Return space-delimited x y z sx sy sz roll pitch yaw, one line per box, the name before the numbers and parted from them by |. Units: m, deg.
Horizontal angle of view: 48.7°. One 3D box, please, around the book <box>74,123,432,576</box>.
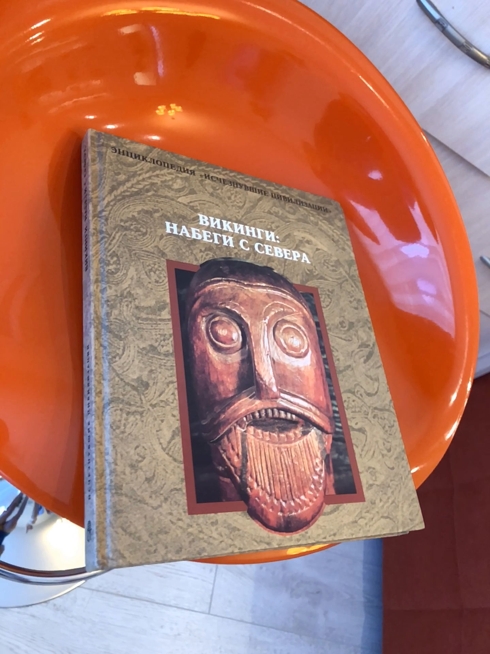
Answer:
book | 0.004 0.006 0.350 0.216 0.022 0.261 8 60 -30
